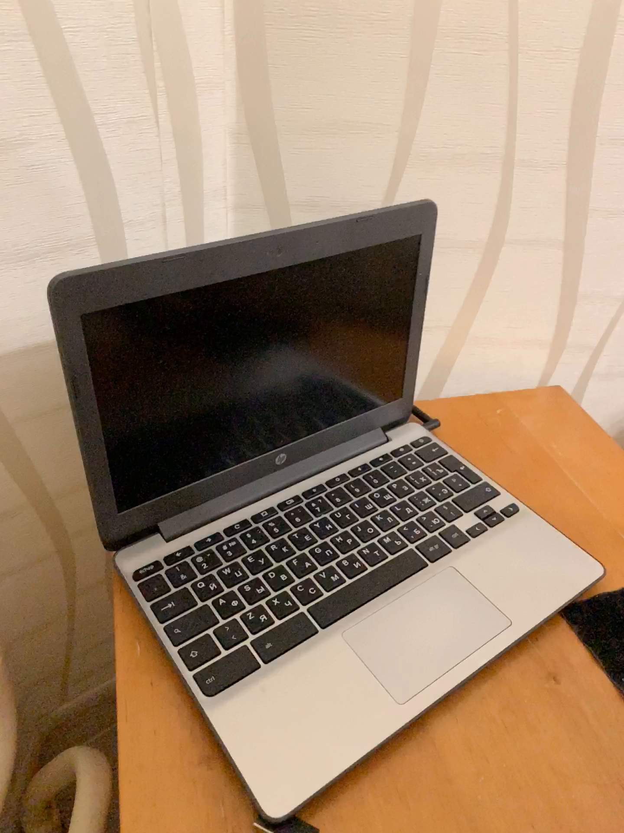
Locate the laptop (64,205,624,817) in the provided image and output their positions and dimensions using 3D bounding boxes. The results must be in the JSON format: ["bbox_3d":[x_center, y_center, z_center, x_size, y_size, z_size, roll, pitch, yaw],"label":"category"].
[{"bbox_3d":[0.037,0.016,0.382,0.271,0.187,0.207,-21,42,-31],"label":"laptop"}]
